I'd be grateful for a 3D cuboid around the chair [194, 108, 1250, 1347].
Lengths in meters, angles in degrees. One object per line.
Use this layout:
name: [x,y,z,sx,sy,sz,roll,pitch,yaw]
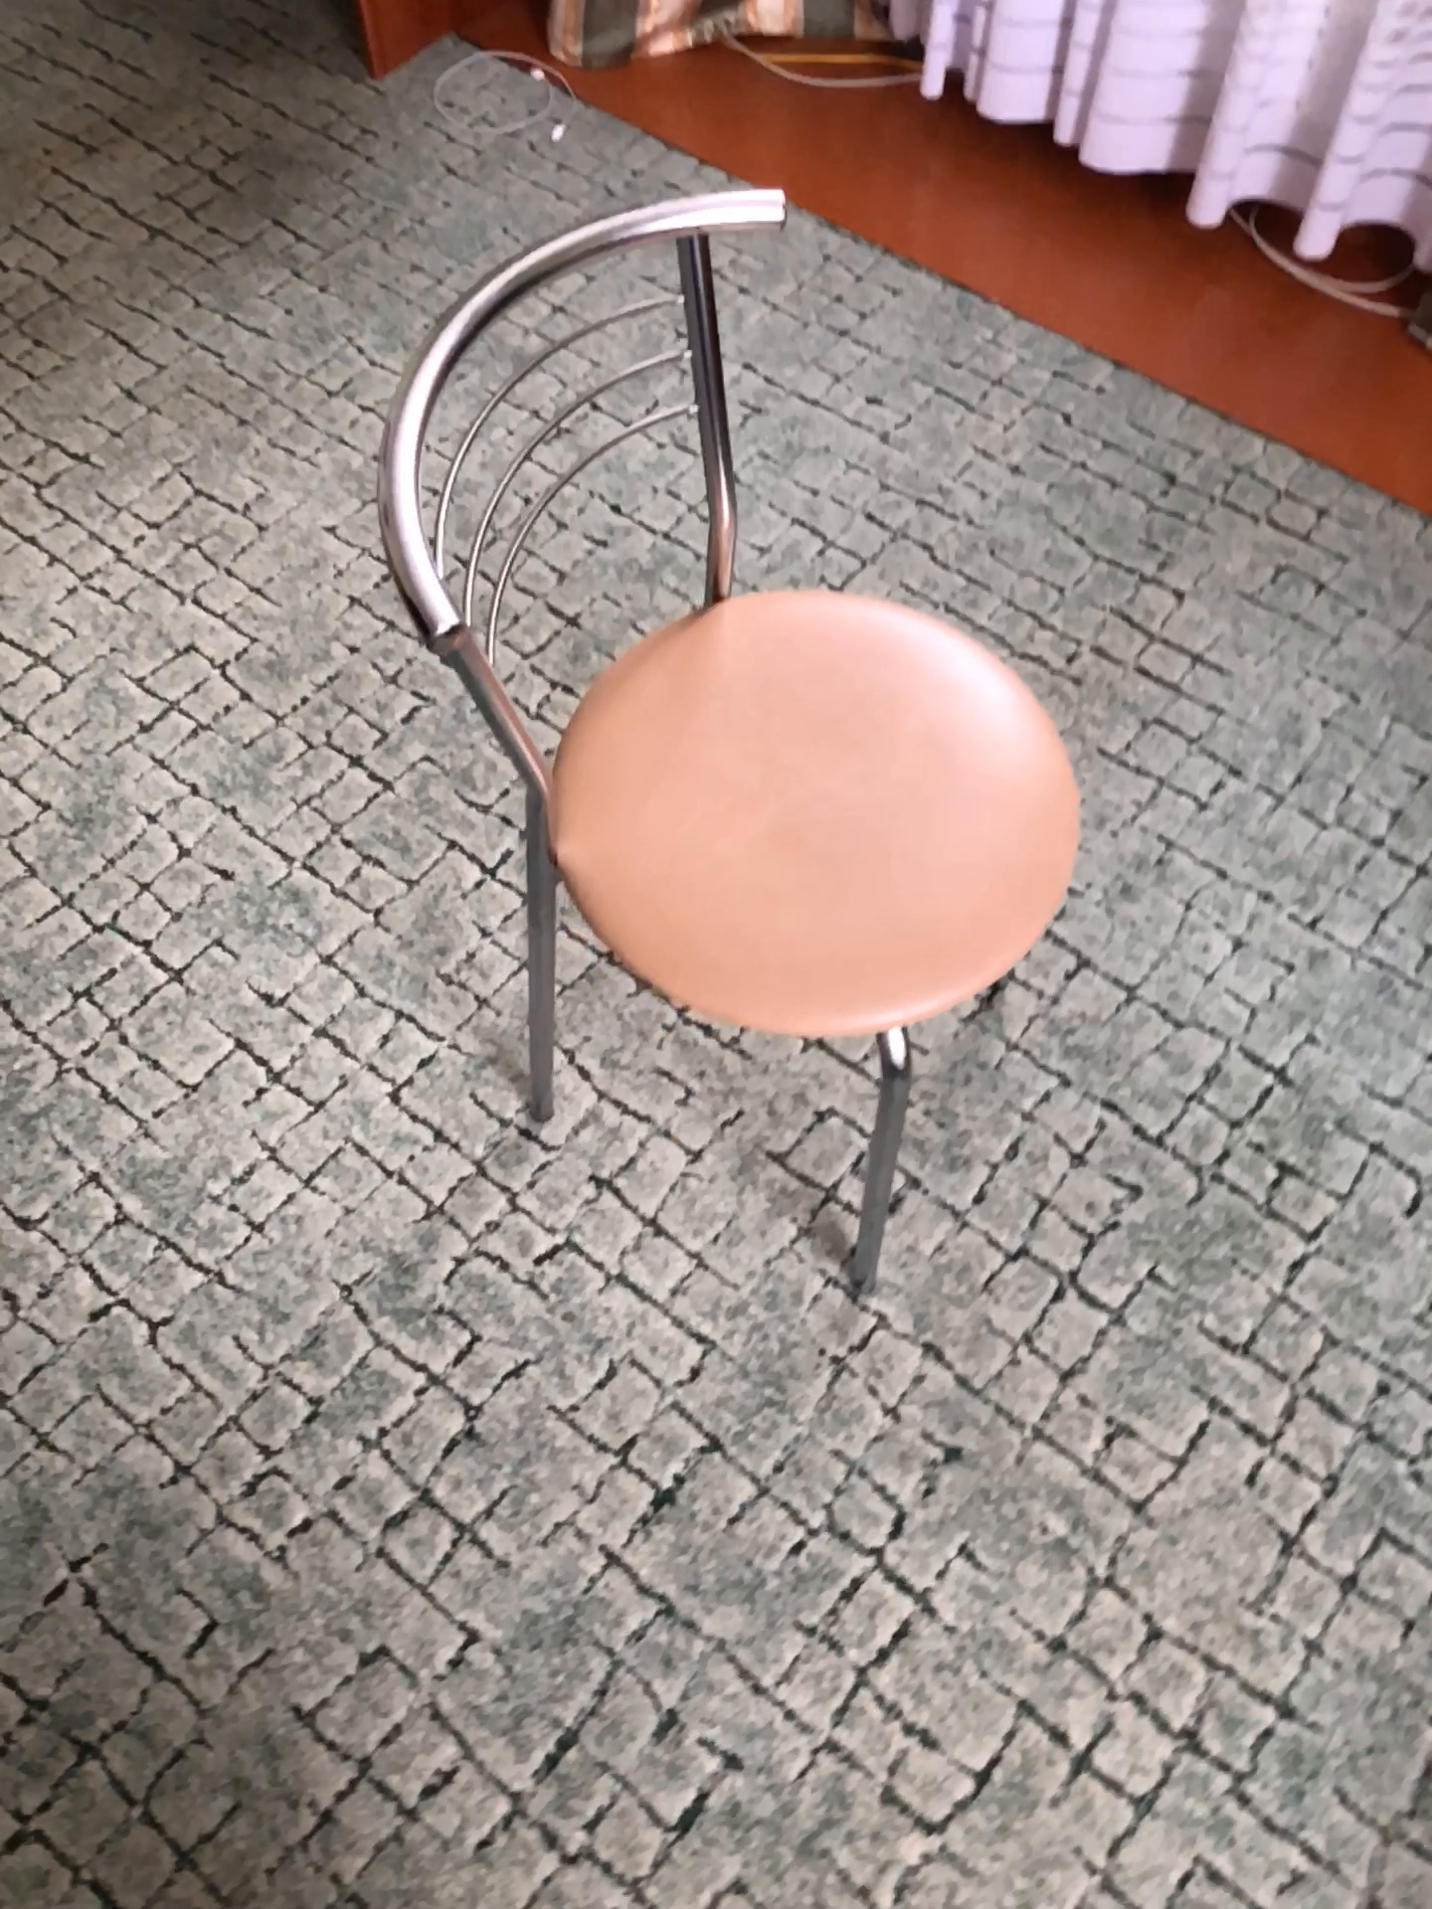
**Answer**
chair: [0.025,-0.102,1.237,0.450,0.804,0.445,22,62,13]
